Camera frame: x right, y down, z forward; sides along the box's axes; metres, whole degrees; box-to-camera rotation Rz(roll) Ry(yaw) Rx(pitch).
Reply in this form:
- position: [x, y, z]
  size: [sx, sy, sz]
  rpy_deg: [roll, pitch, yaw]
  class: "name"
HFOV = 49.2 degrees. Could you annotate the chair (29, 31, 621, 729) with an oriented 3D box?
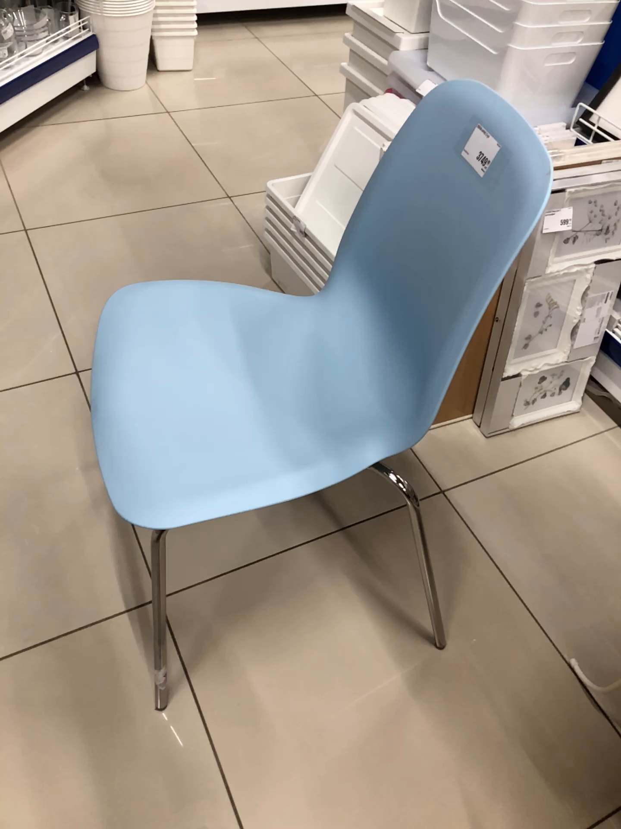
- position: [-0.031, -0.037, 0.975]
  size: [0.541, 0.755, 0.563]
  rpy_deg: [-9, 49, -15]
  class: "chair"
